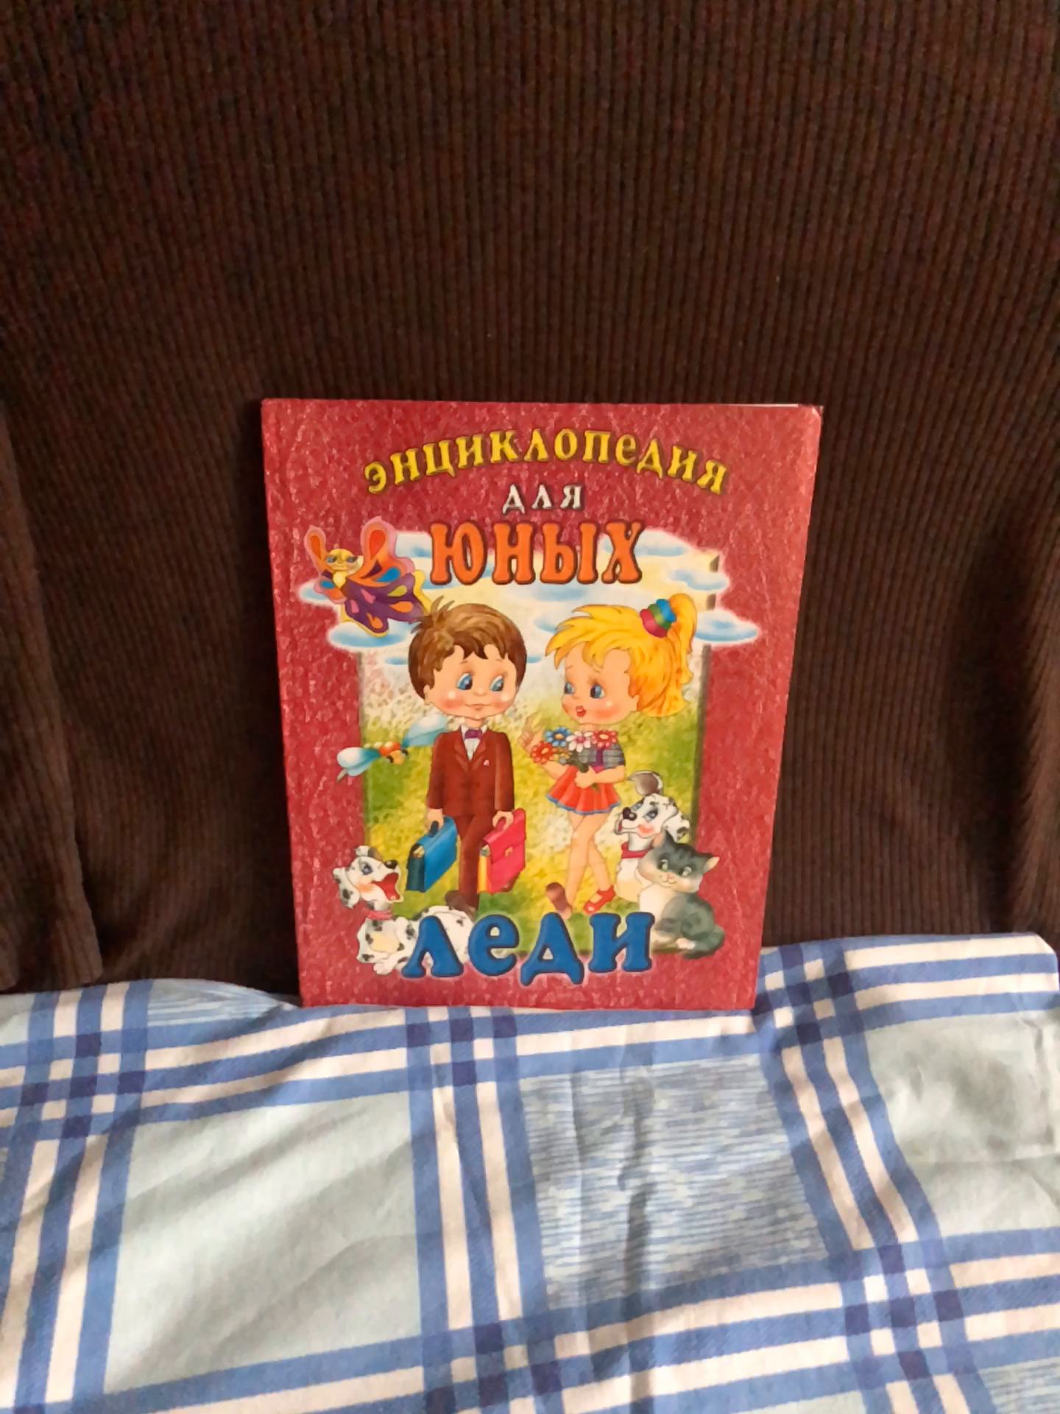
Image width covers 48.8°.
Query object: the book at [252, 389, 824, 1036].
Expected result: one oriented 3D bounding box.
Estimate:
[{"bbox_3d":[0.001,0.015,0.532,0.230,0.303,0.020,0,22,-5],"label":"book"}]
